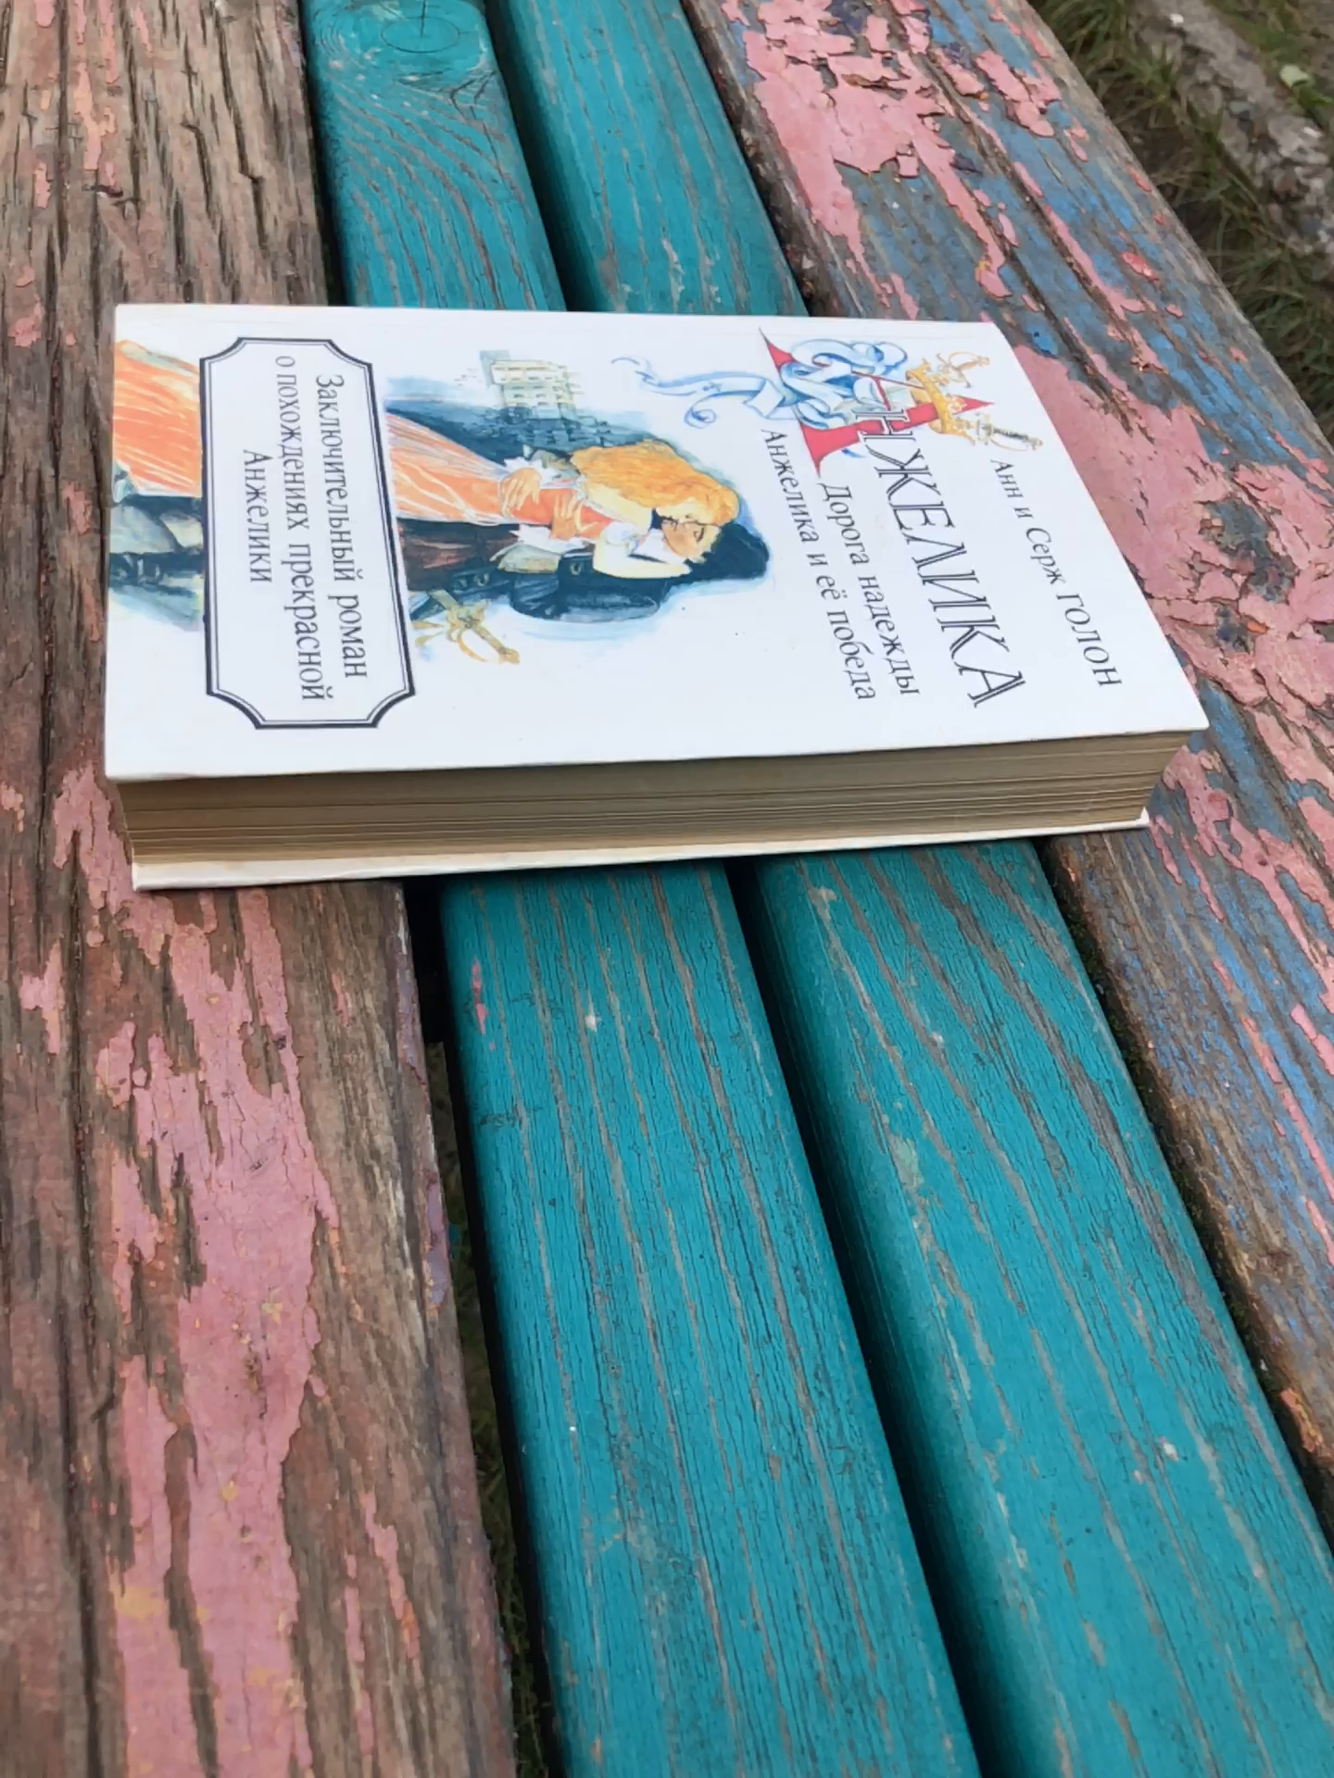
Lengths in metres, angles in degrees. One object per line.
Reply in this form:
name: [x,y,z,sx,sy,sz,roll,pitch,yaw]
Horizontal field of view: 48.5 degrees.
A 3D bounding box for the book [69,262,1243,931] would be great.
book: [-0.009,-0.072,0.317,0.213,0.032,0.154,-4,56,-13]
